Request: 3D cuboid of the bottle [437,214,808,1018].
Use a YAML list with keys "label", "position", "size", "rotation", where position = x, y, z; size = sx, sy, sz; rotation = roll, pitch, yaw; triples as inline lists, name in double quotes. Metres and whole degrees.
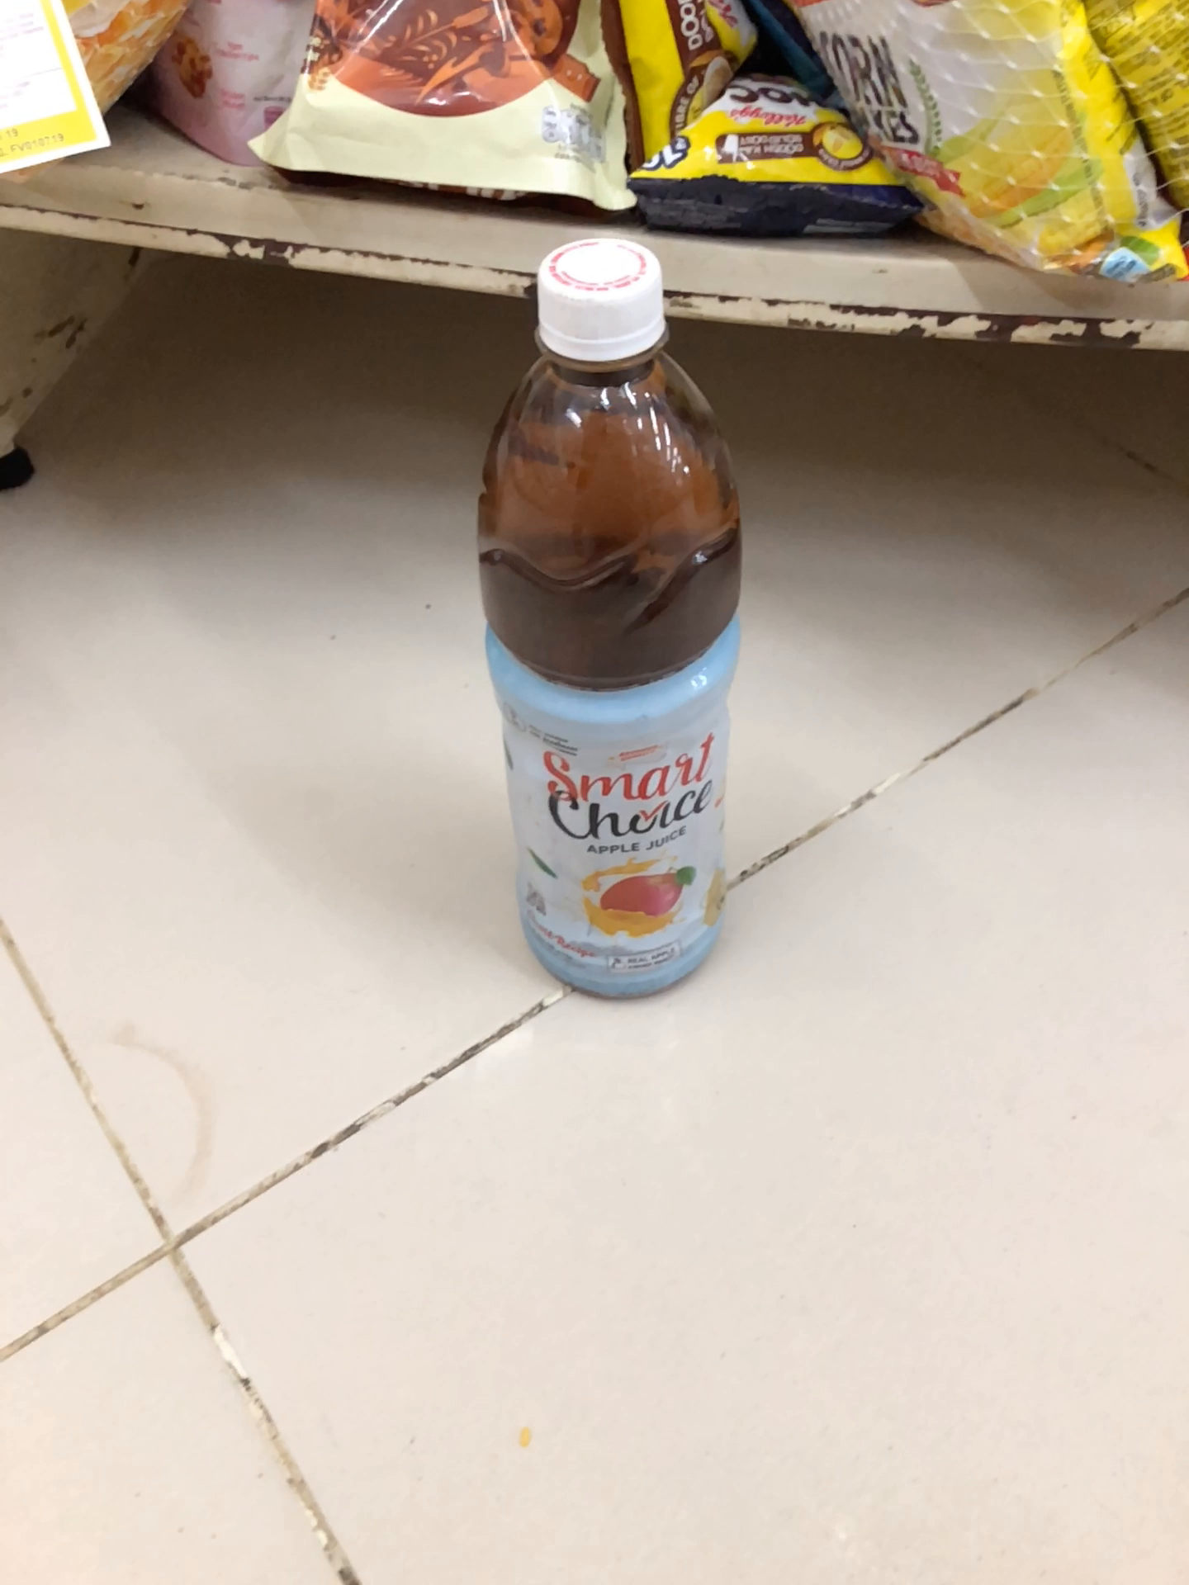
- label: "bottle"
  position: [0.008, -0.034, 0.404]
  size: [0.080, 0.248, 0.080]
  rotation: [-1, 50, 2]
